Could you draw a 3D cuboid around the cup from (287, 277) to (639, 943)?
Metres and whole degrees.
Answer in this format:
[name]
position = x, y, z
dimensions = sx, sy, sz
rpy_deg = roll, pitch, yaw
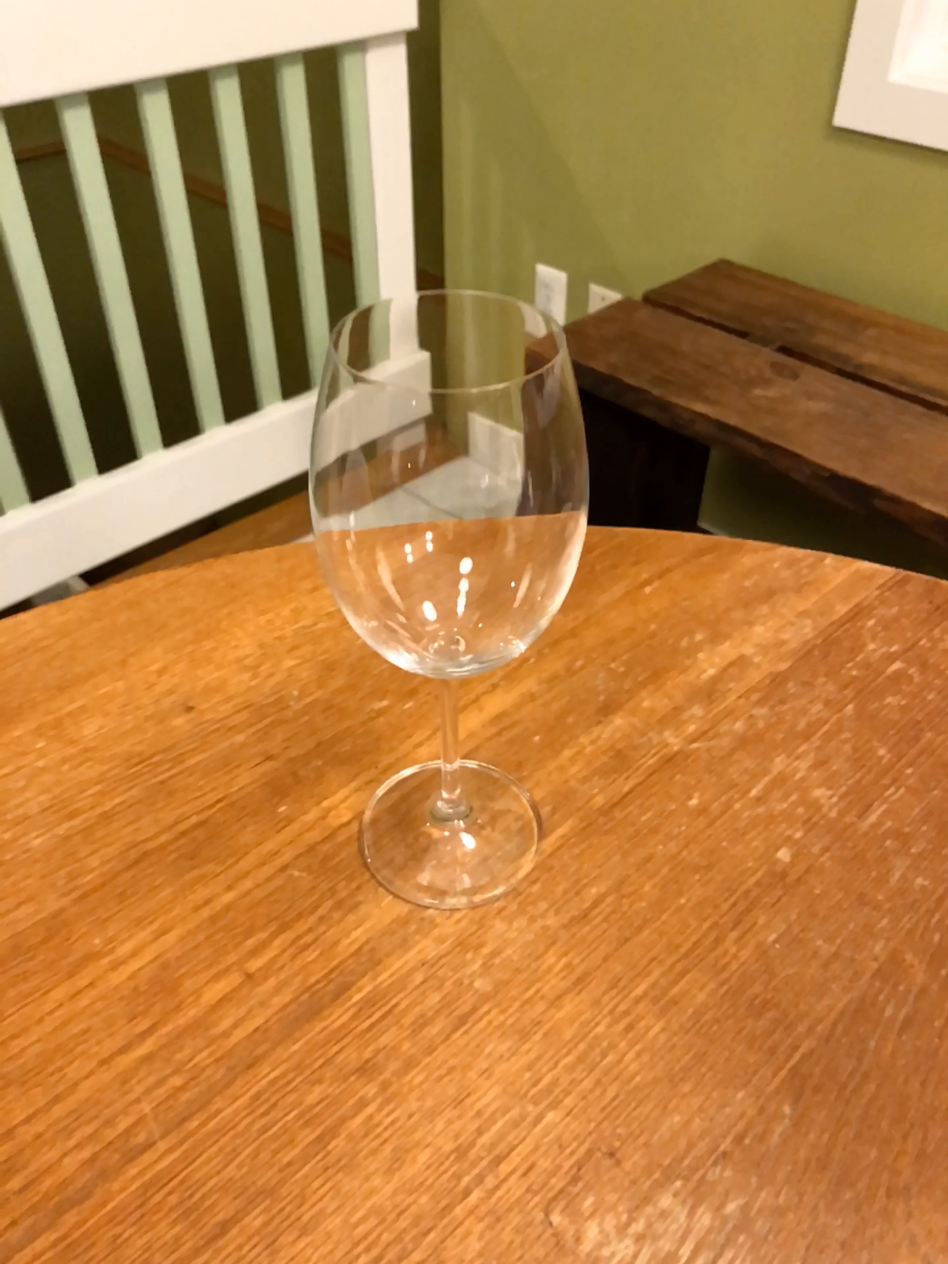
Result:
[cup]
position = -0.007, 0.002, 0.401
dimensions = 0.097, 0.240, 0.101
rpy_deg = 0, 39, 0
